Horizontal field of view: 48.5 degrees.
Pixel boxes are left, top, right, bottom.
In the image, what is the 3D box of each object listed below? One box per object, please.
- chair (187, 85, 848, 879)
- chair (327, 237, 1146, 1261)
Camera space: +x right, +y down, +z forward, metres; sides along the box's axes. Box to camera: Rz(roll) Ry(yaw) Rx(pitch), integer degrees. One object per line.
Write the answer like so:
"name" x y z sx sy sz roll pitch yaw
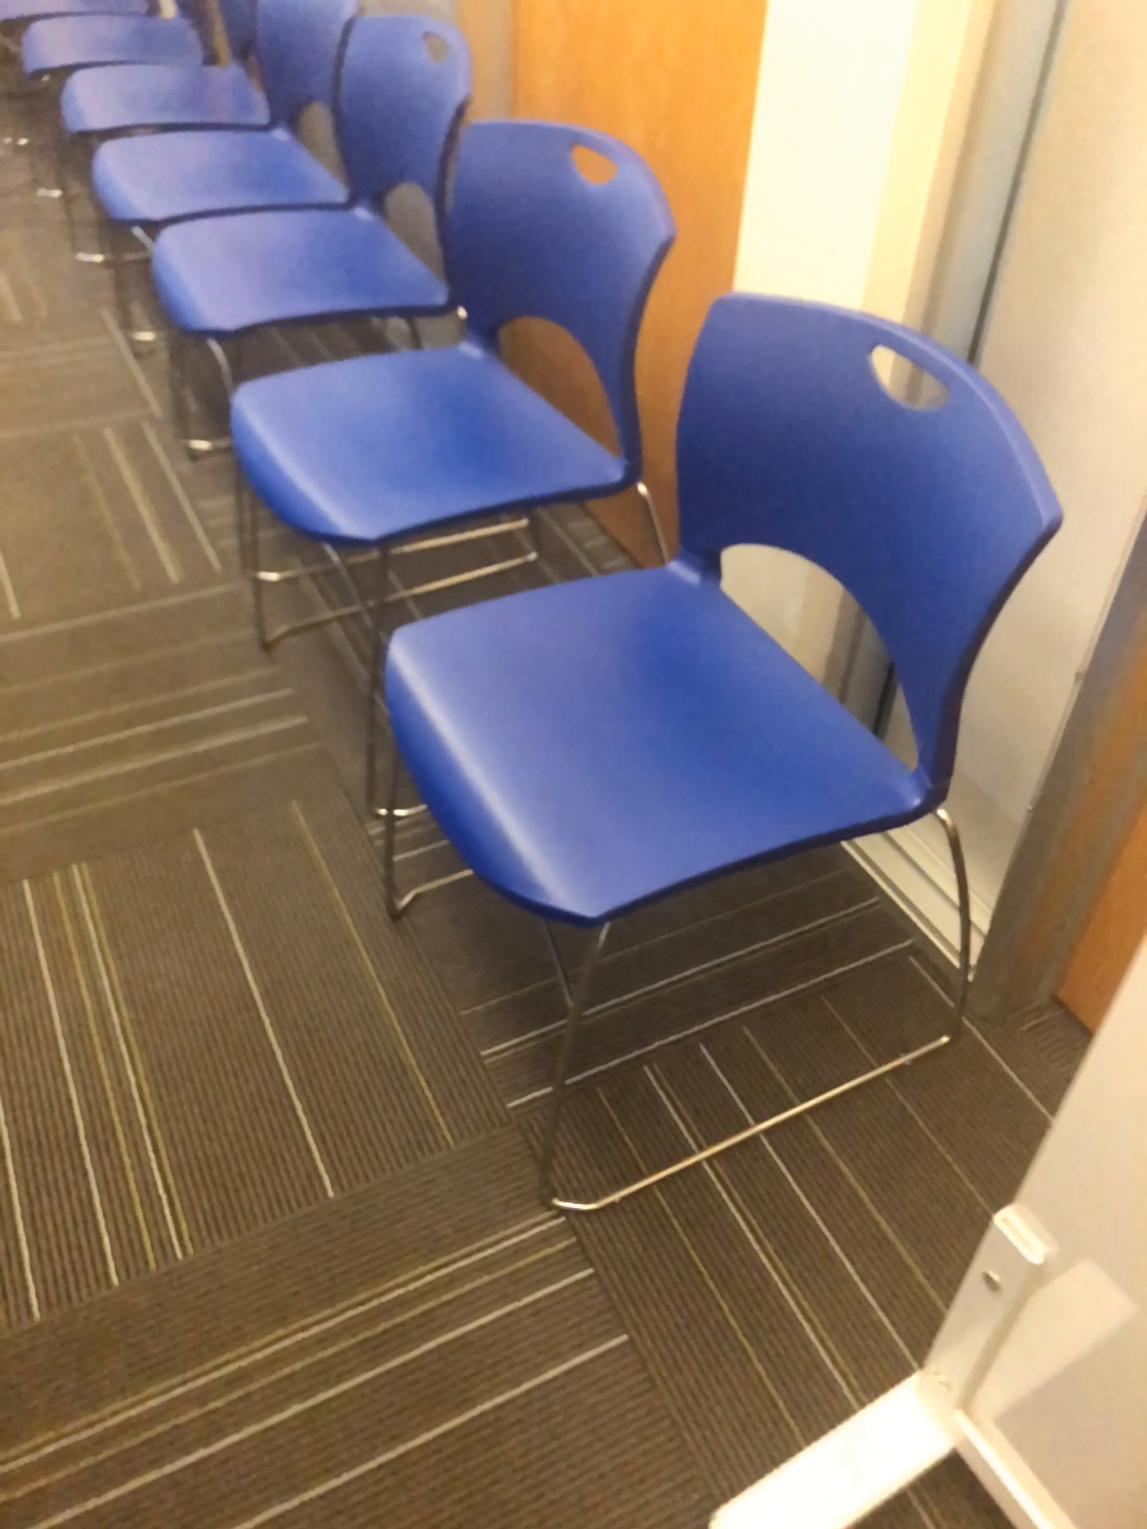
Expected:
"chair" -0.095 -0.405 1.814 0.632 0.853 0.523 -18 45 -22
"chair" 0.146 -0.030 1.326 0.592 0.773 0.543 -17 45 -21
